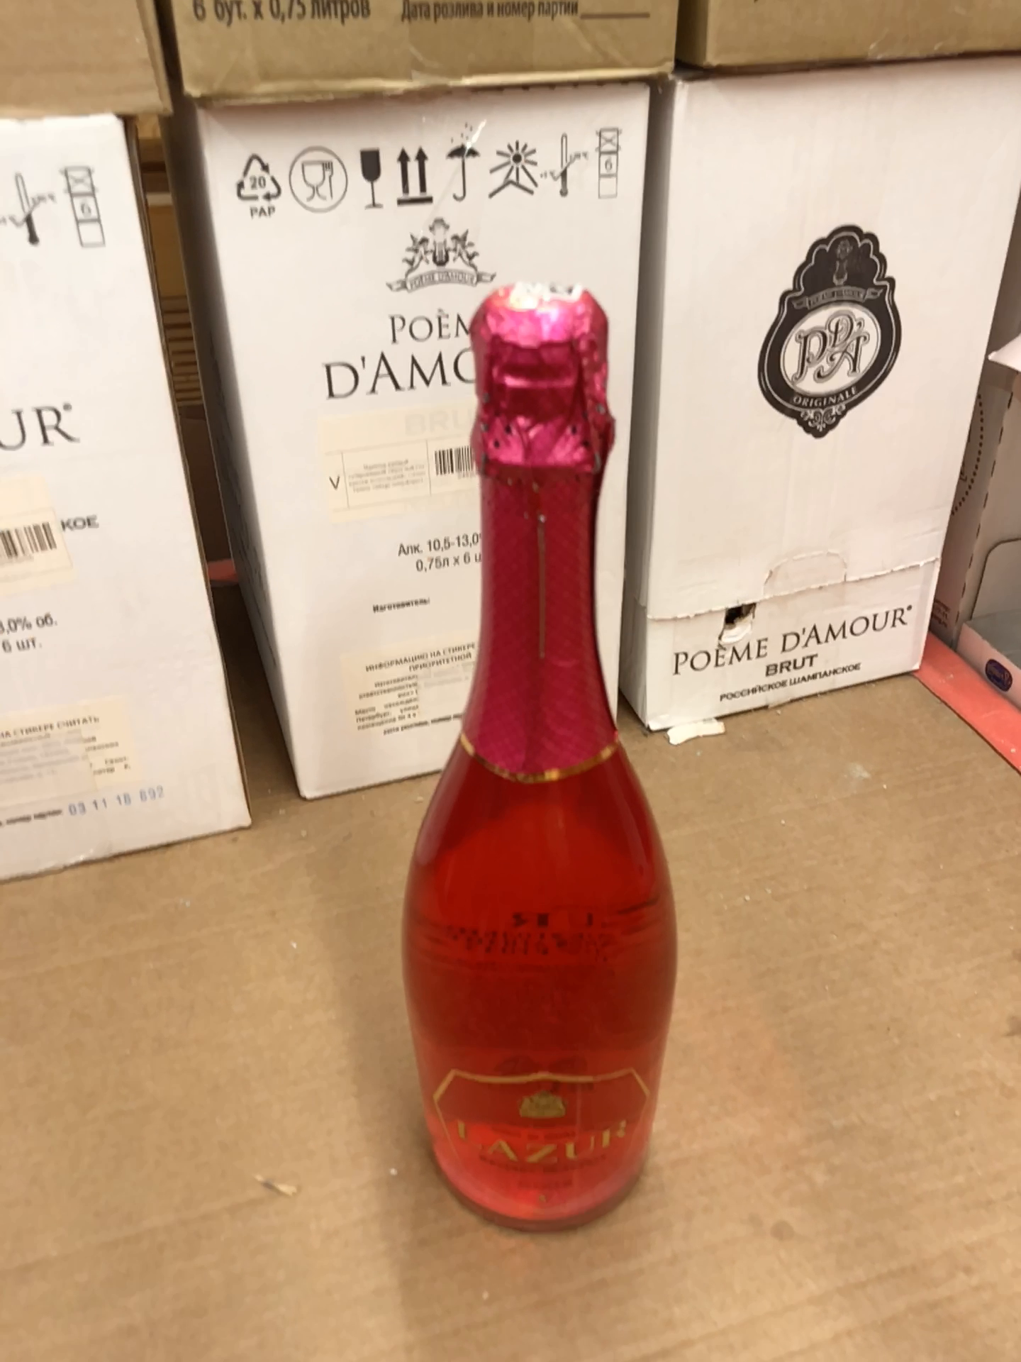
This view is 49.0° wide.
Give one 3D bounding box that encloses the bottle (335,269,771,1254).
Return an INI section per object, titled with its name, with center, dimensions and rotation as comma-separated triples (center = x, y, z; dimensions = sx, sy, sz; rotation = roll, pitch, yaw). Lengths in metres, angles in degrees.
[bottle]
center = 0.010, 0.046, 0.355
dimensions = 0.090, 0.320, 0.091
rotation = 0, 33, 0
